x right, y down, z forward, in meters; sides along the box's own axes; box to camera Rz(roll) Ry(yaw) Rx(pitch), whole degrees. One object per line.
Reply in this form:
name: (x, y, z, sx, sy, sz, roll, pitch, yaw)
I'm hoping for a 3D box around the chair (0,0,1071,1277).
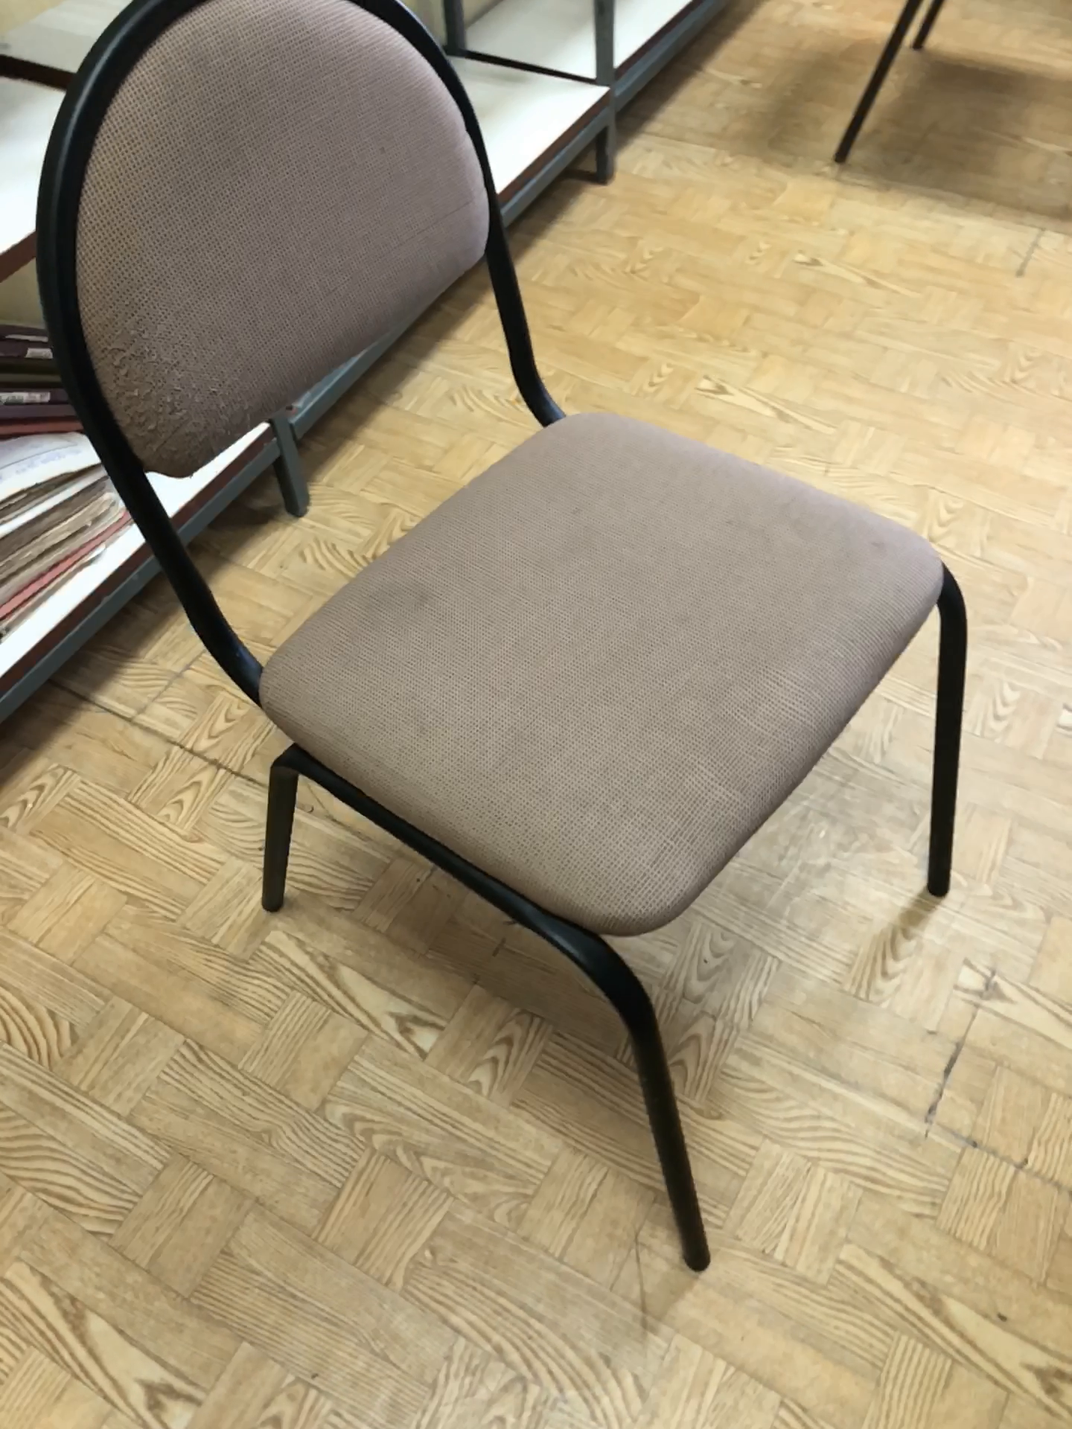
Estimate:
chair: (0.025, -0.069, 0.864, 0.574, 0.768, 0.480, 32, 60, 24)
